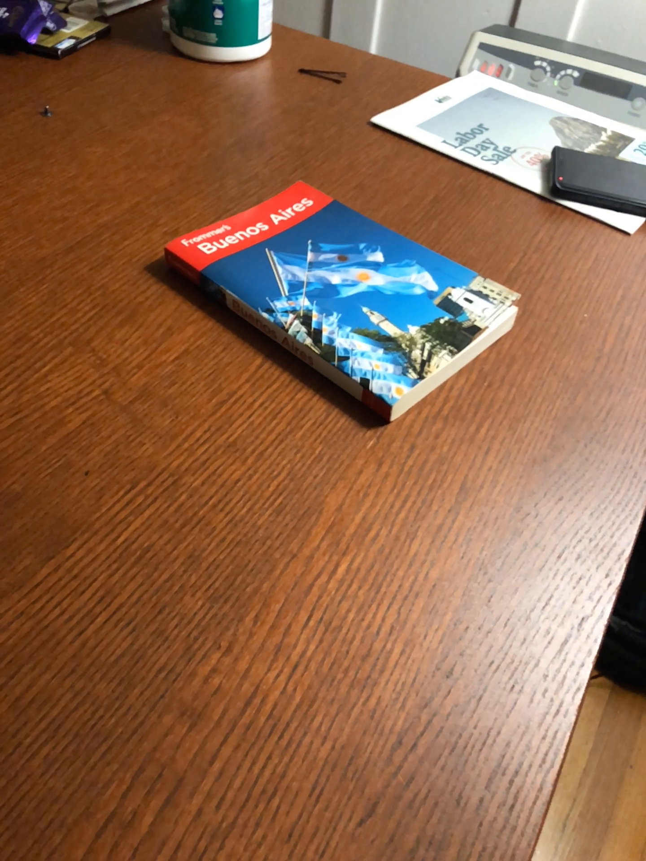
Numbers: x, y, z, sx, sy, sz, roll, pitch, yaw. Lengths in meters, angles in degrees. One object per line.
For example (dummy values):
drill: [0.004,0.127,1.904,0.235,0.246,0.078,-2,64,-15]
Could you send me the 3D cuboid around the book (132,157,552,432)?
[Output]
book: [0.012,-0.105,0.466,0.220,0.020,0.161,35,52,24]
